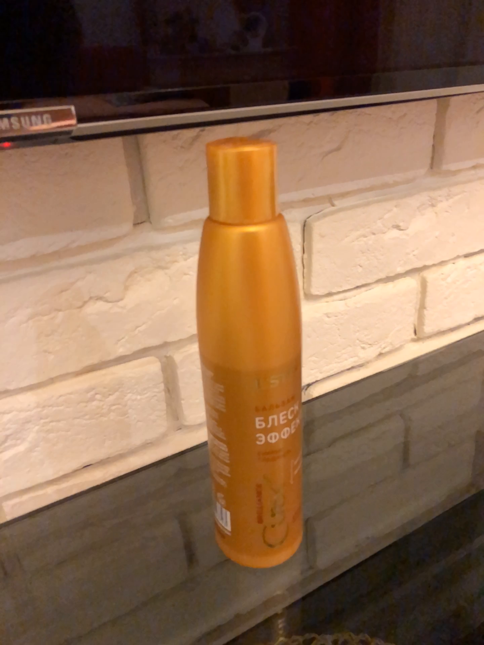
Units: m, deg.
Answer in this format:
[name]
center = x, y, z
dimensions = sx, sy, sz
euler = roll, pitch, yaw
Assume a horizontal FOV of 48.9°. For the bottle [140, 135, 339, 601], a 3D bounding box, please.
[bottle]
center = 0.002, 0.023, 0.243
dimensions = 0.050, 0.199, 0.060
euler = -19, 29, -30
